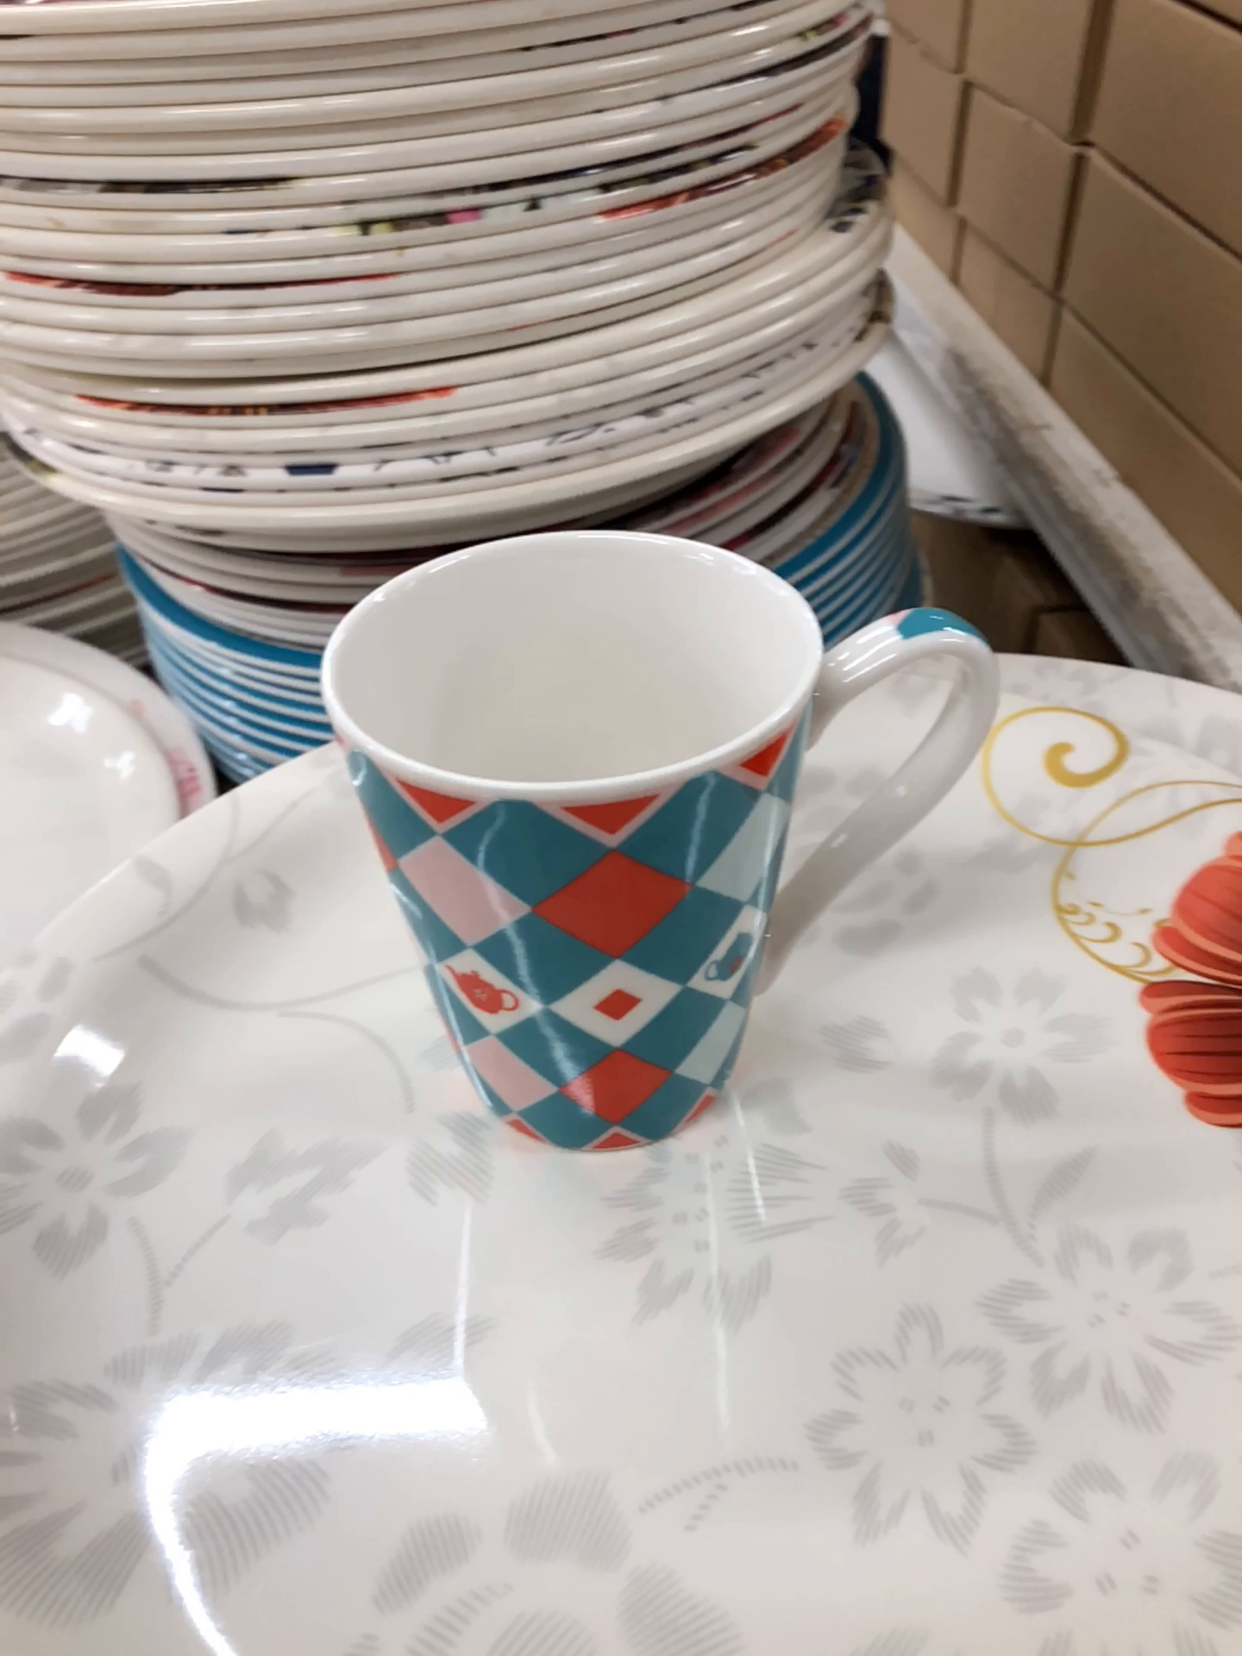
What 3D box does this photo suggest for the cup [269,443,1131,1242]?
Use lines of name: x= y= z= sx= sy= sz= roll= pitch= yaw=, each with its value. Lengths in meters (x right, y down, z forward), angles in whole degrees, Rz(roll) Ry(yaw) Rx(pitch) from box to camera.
cup: x=0.013 y=-0.002 z=0.275 sx=0.130 sy=0.099 sz=0.080 roll=-17 pitch=41 yaw=-17
